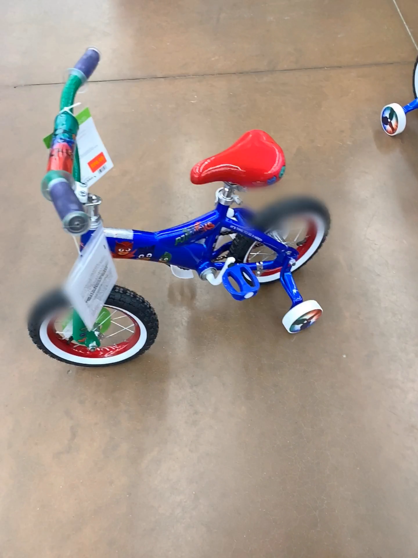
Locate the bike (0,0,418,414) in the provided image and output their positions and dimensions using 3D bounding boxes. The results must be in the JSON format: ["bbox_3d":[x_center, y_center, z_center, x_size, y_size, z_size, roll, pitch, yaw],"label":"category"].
[{"bbox_3d":[-0.068,-0.151,0.964,0.794,0.695,0.466,-20,58,-9],"label":"bike"}]
